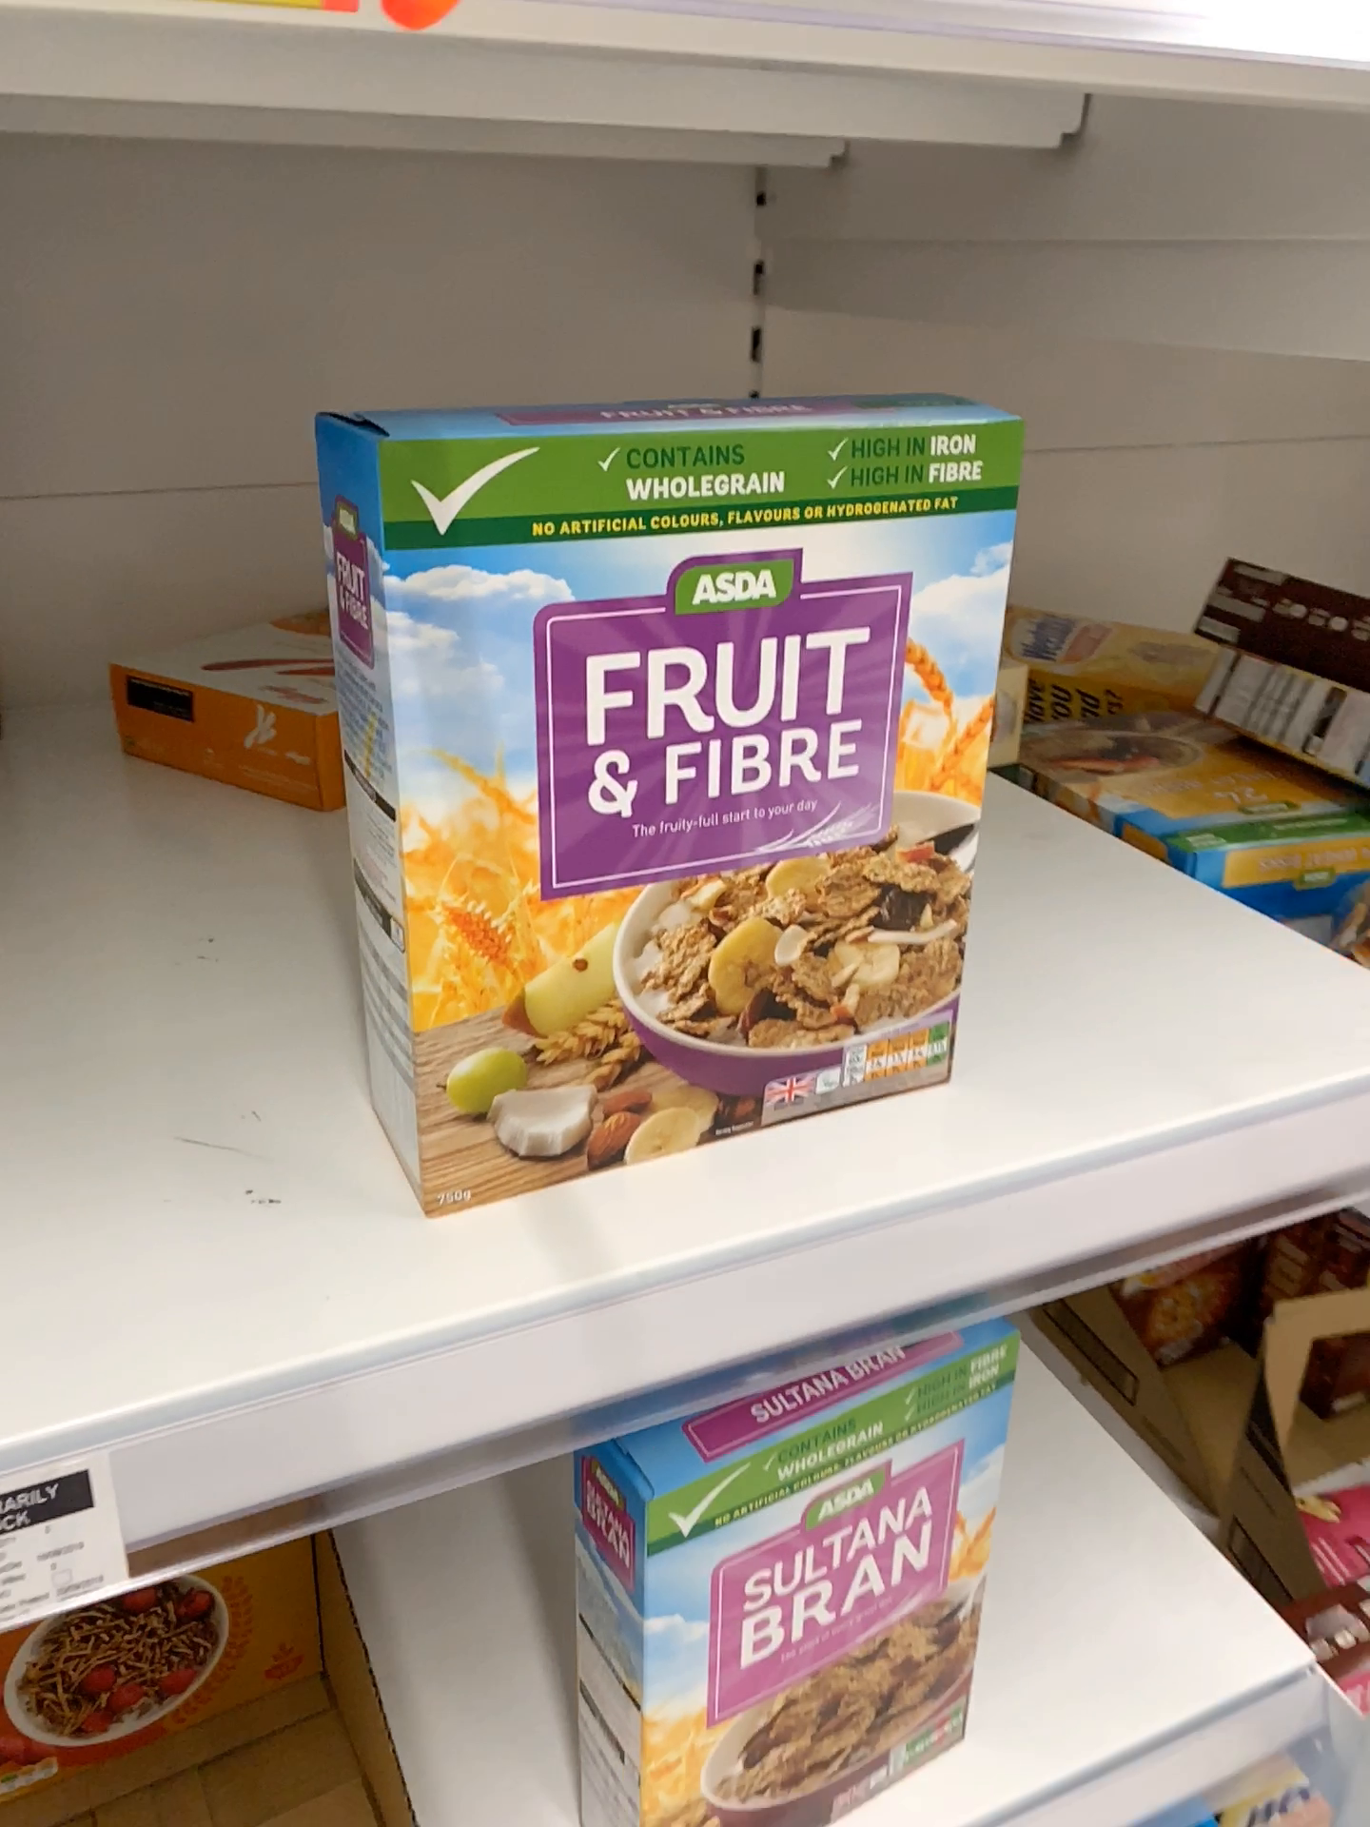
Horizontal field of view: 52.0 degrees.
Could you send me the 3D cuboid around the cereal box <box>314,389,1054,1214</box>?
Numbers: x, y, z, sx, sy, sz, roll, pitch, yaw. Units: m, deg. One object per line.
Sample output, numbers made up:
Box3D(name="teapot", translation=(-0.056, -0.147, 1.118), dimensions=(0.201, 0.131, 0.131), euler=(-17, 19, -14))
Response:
Box3D(name="cereal box", translation=(0.001, -0.048, 0.514), dimensions=(0.230, 0.258, 0.081), euler=(-10, 27, -23))
